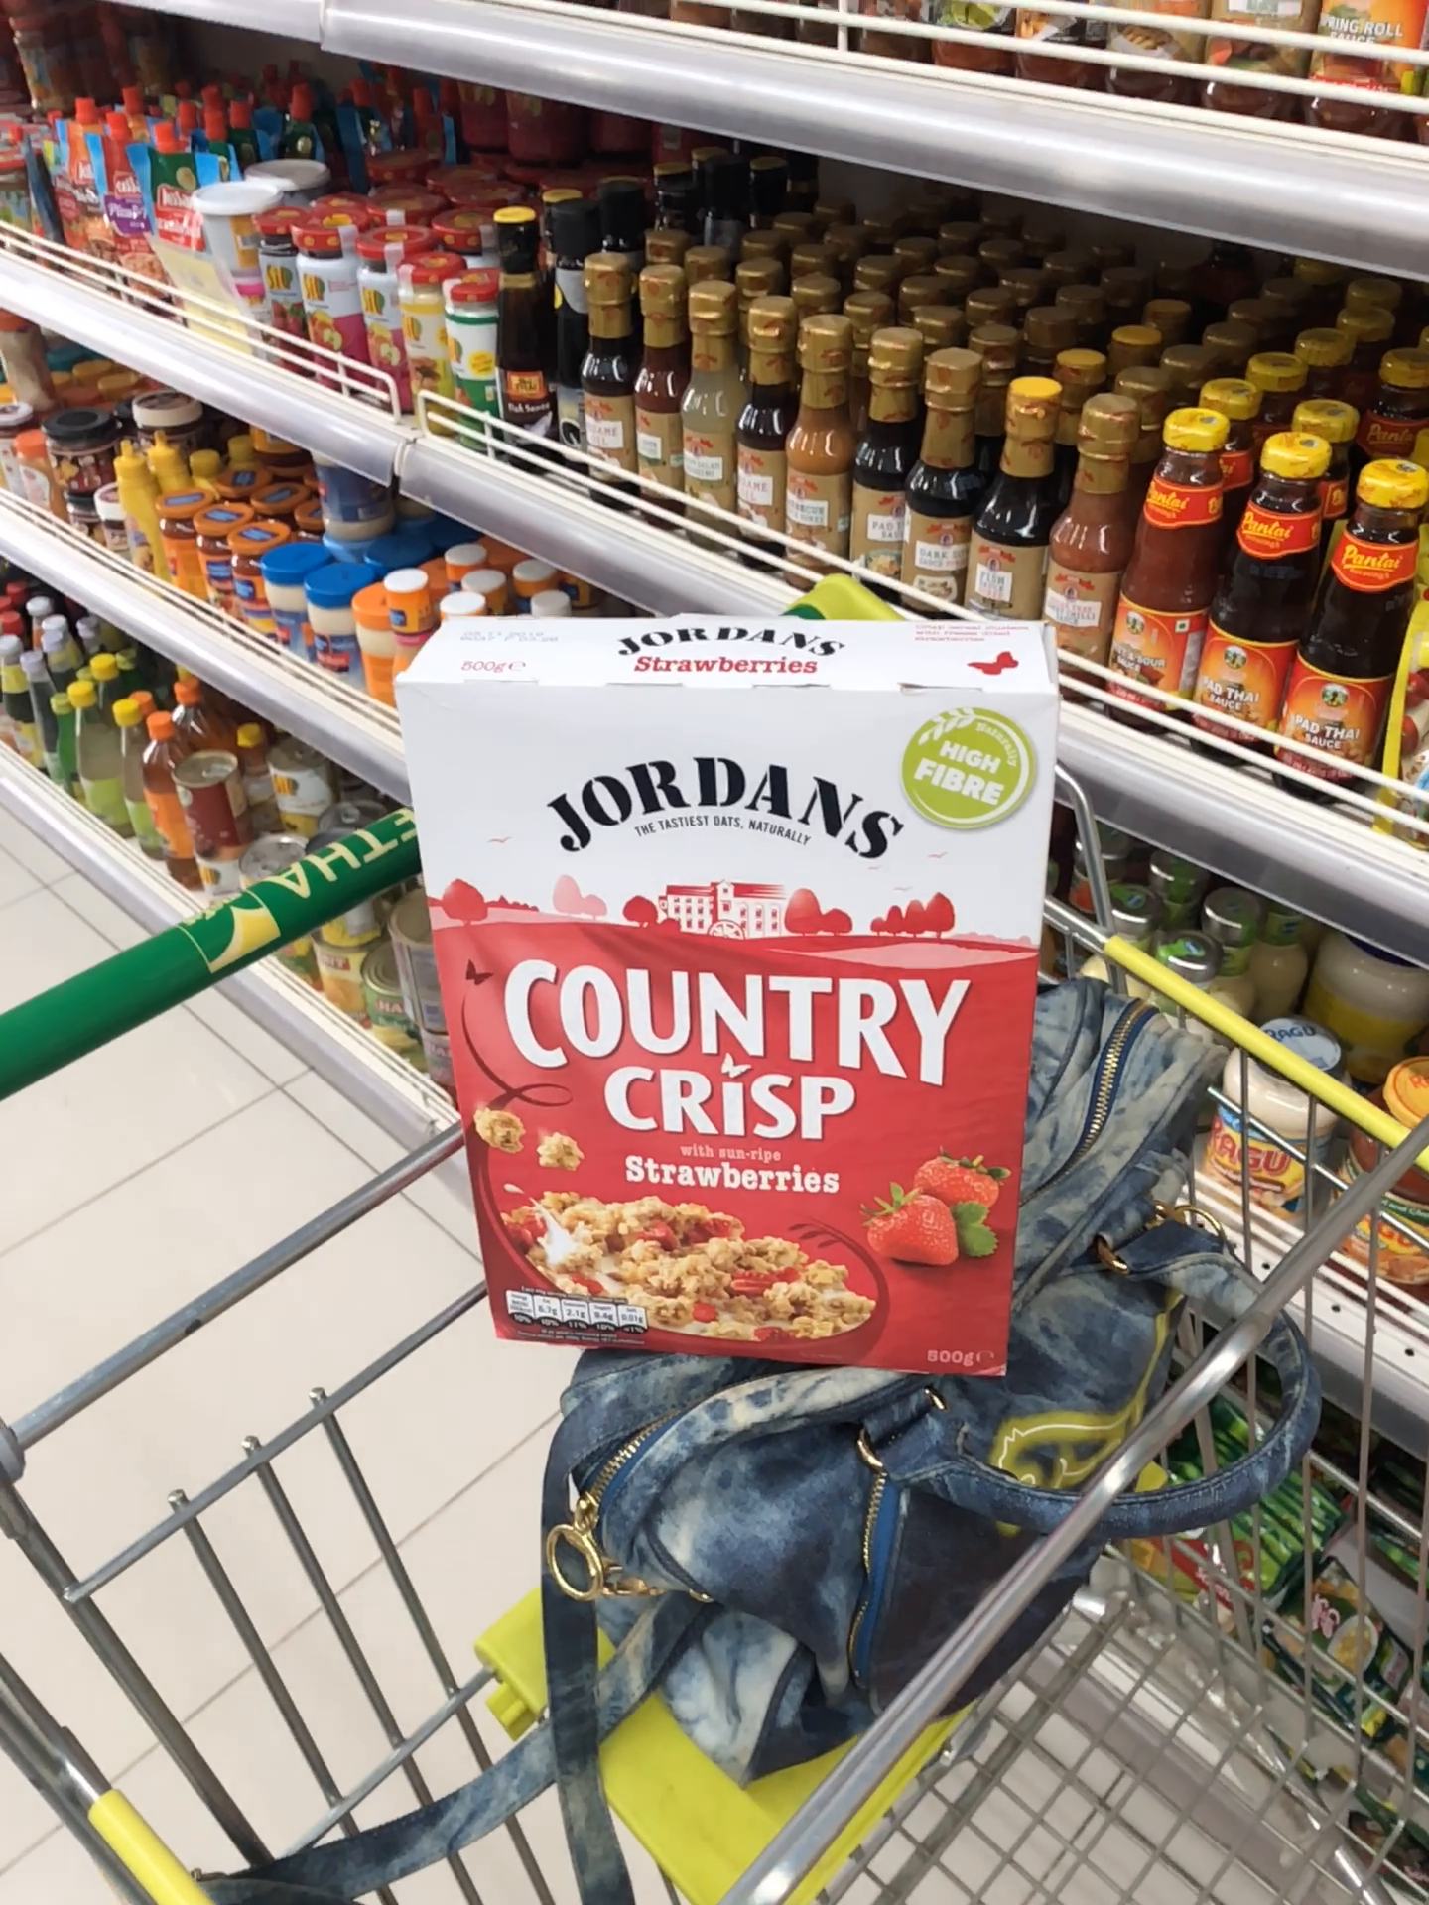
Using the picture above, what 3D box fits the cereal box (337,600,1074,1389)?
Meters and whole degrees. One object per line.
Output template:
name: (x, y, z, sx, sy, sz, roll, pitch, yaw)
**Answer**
cereal box: (0.002, 0.021, 0.498, 0.190, 0.249, 0.060, 3, 34, 7)
